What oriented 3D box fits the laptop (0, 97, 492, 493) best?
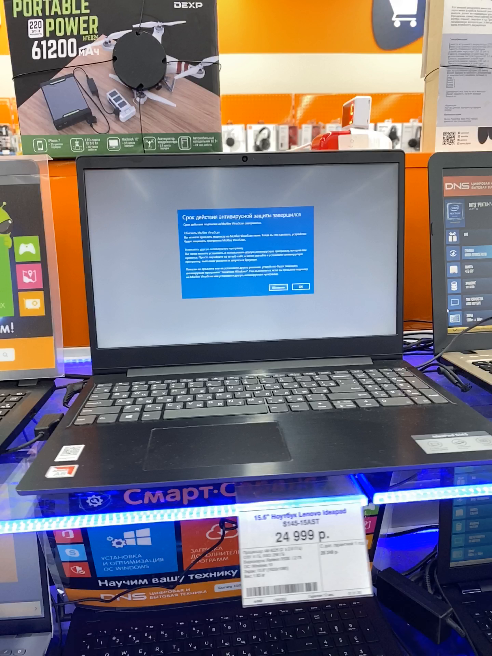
[{"bbox_3d":[0.014,-0.046,0.459,0.361,0.240,0.273,-3,12,-4],"label":"laptop"}]
